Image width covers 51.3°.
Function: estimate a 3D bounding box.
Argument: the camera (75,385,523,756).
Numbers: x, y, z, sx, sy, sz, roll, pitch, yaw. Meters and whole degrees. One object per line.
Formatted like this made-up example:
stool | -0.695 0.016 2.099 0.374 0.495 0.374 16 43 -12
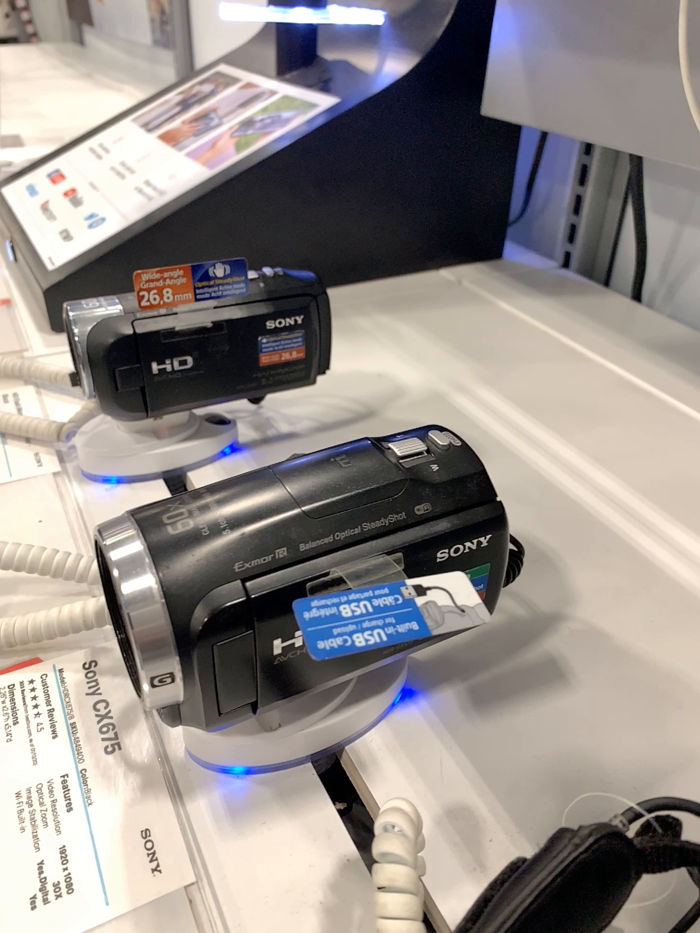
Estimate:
camera | -0.014 0.025 0.220 0.112 0.060 0.054 -16 38 -24
